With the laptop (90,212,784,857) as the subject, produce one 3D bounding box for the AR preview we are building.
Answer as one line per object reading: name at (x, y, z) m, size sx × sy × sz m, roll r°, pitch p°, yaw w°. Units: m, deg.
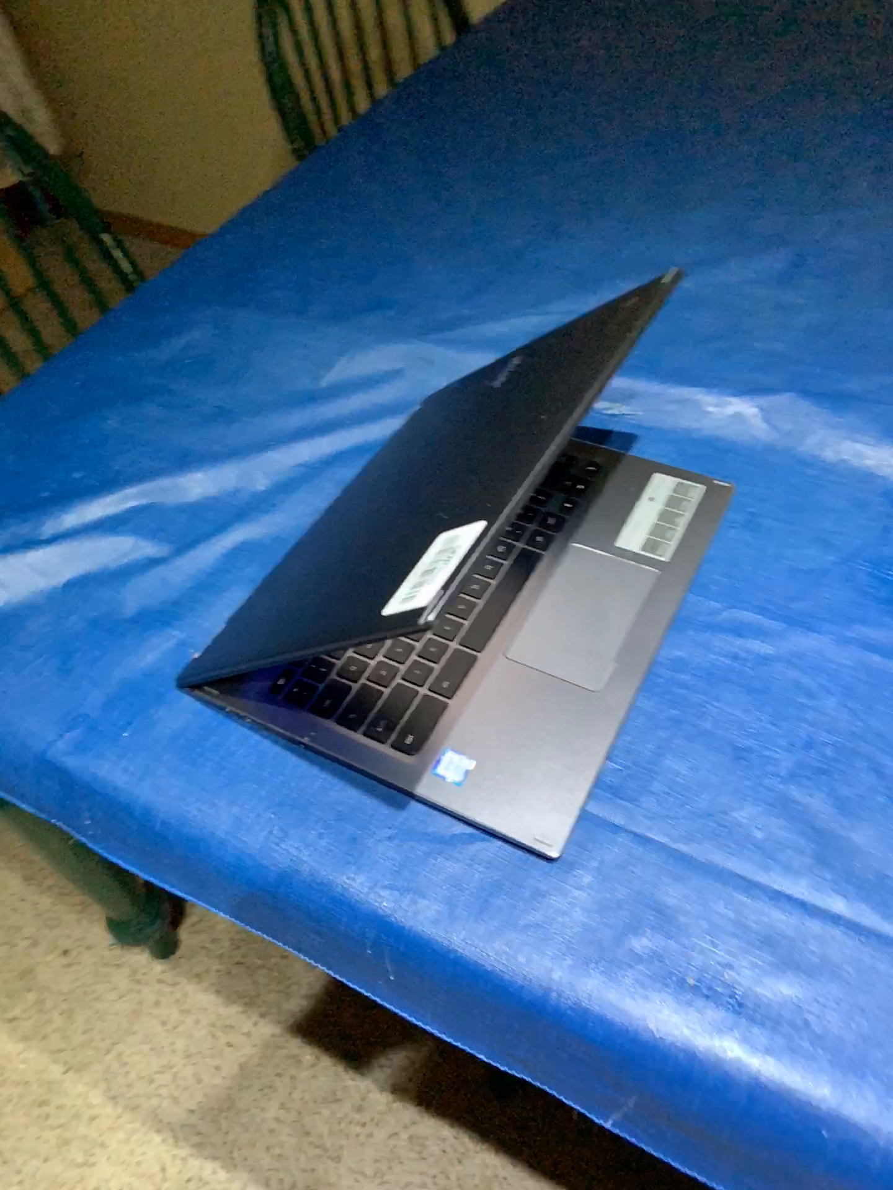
laptop at (0.015, -0.063, 0.532) m, size 0.250 × 0.150 × 0.305 m, roll 20°, pitch 53°, yaw 22°
